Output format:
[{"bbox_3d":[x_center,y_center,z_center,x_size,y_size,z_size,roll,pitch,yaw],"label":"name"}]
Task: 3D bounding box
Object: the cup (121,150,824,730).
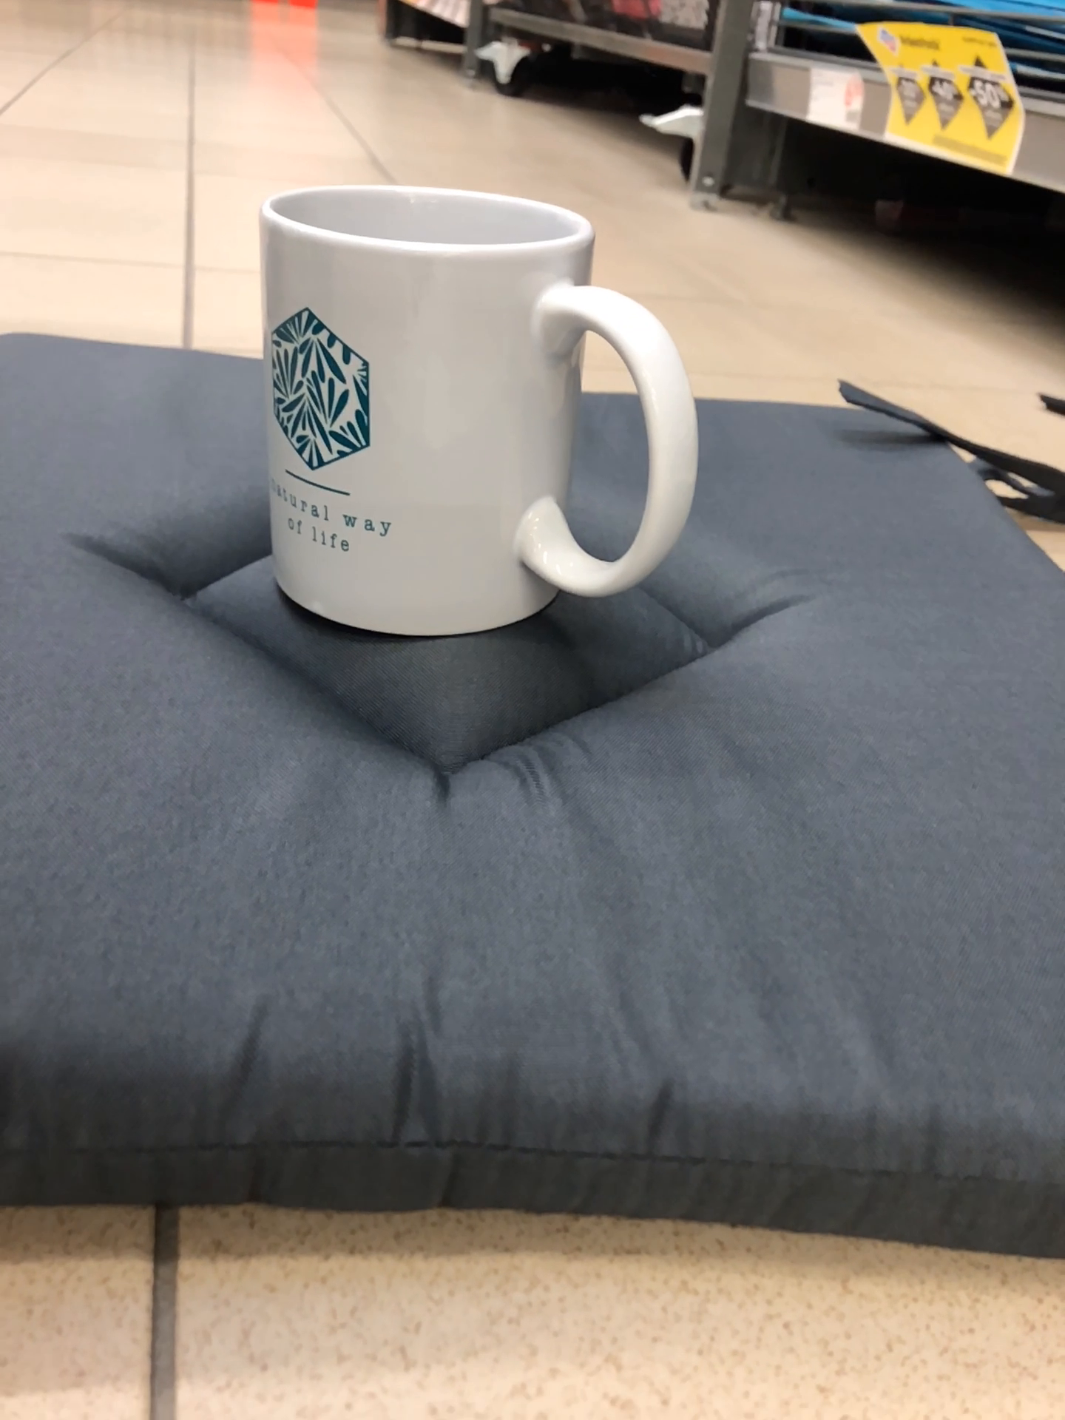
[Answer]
[{"bbox_3d":[-0.019,-0.075,0.285,0.130,0.089,0.091,28,36,31],"label":"cup"}]
